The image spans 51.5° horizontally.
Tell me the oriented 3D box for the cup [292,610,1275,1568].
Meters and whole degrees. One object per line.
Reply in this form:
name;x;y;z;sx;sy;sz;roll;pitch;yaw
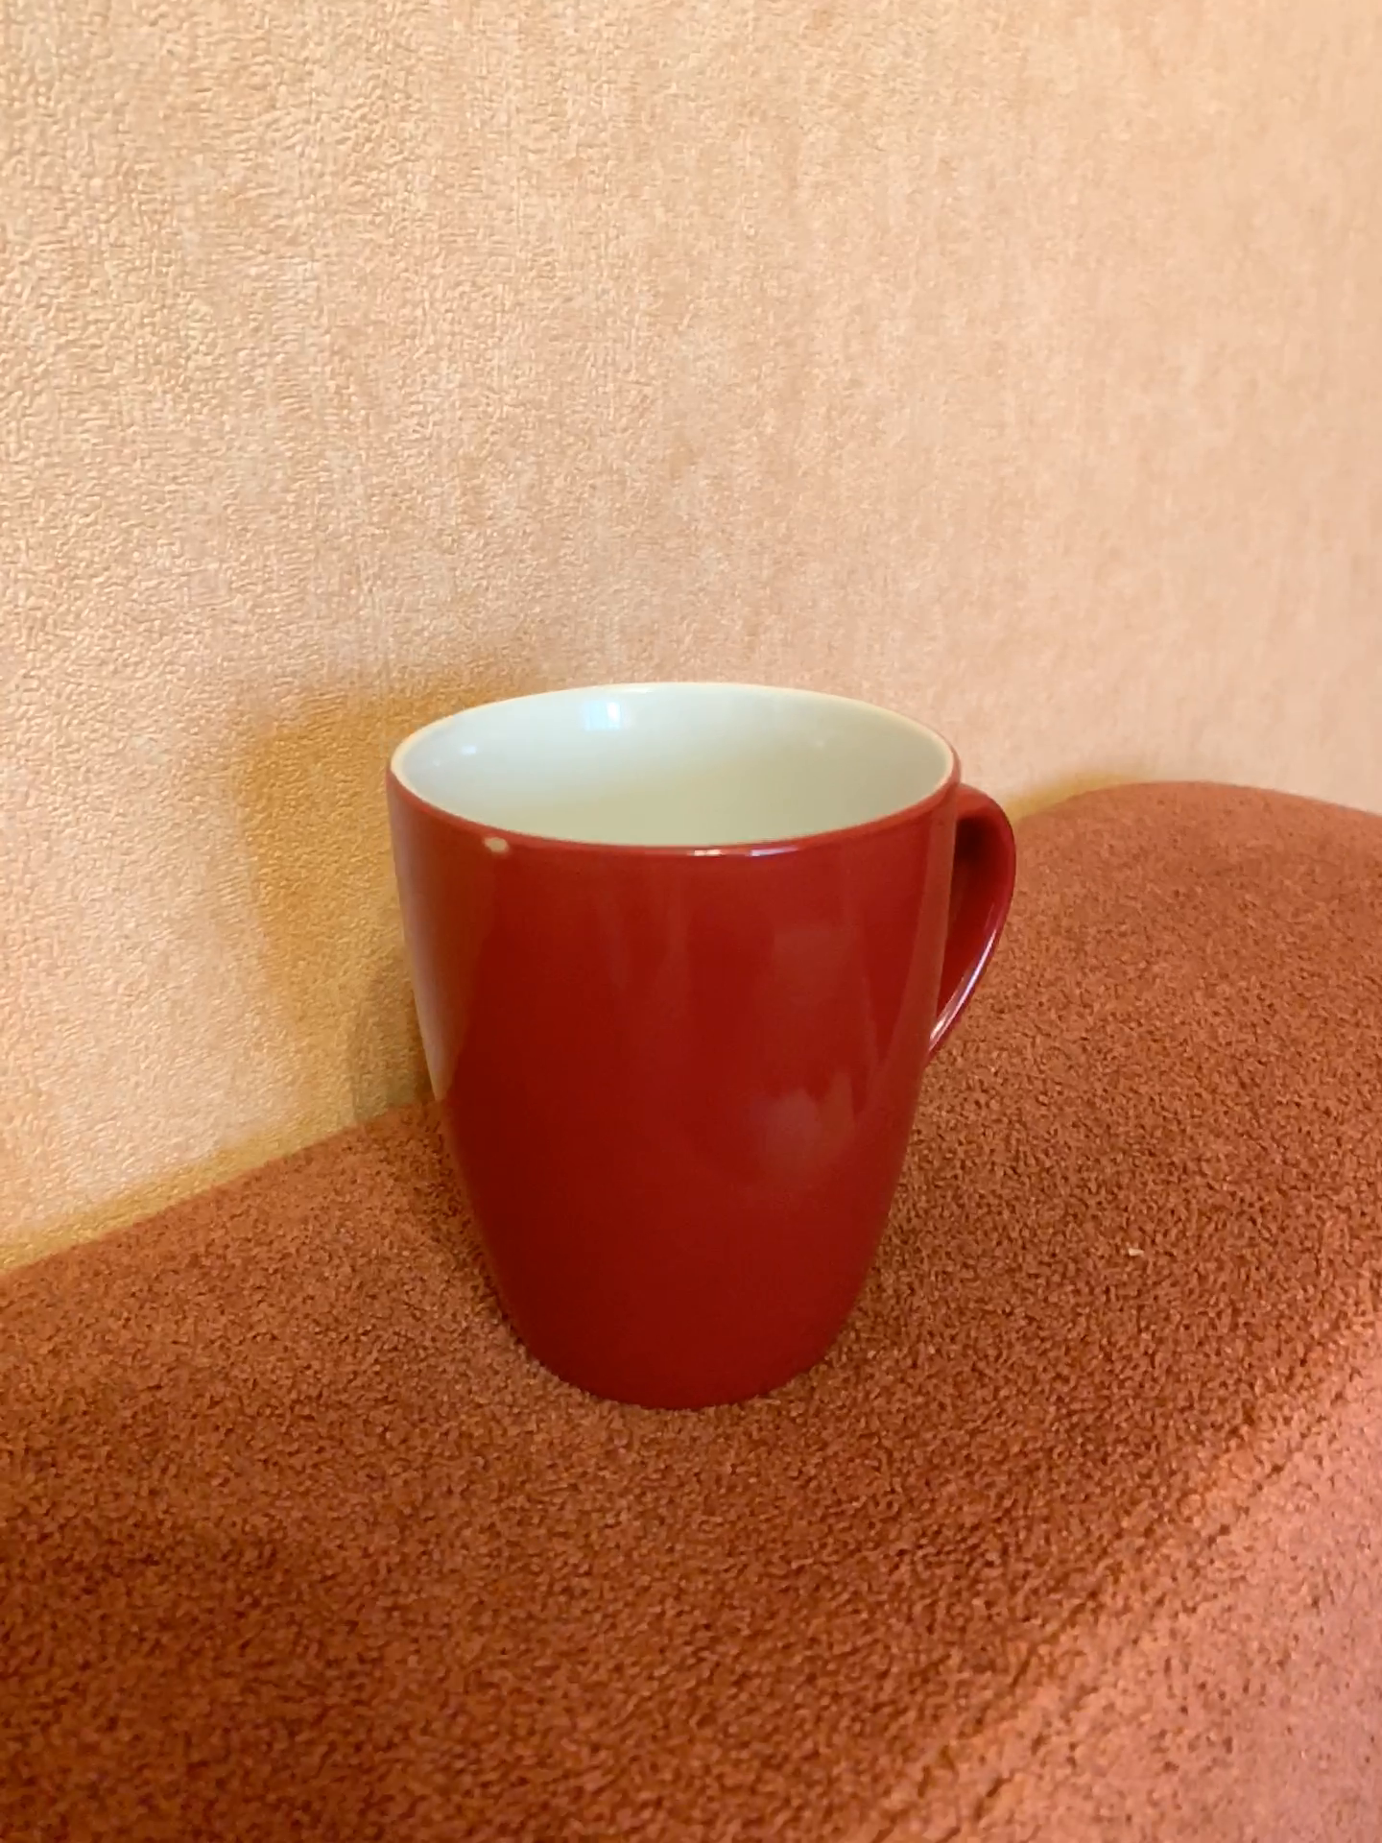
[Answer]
cup;0.016;0.012;0.231;0.122;0.091;0.083;-20;31;-35
